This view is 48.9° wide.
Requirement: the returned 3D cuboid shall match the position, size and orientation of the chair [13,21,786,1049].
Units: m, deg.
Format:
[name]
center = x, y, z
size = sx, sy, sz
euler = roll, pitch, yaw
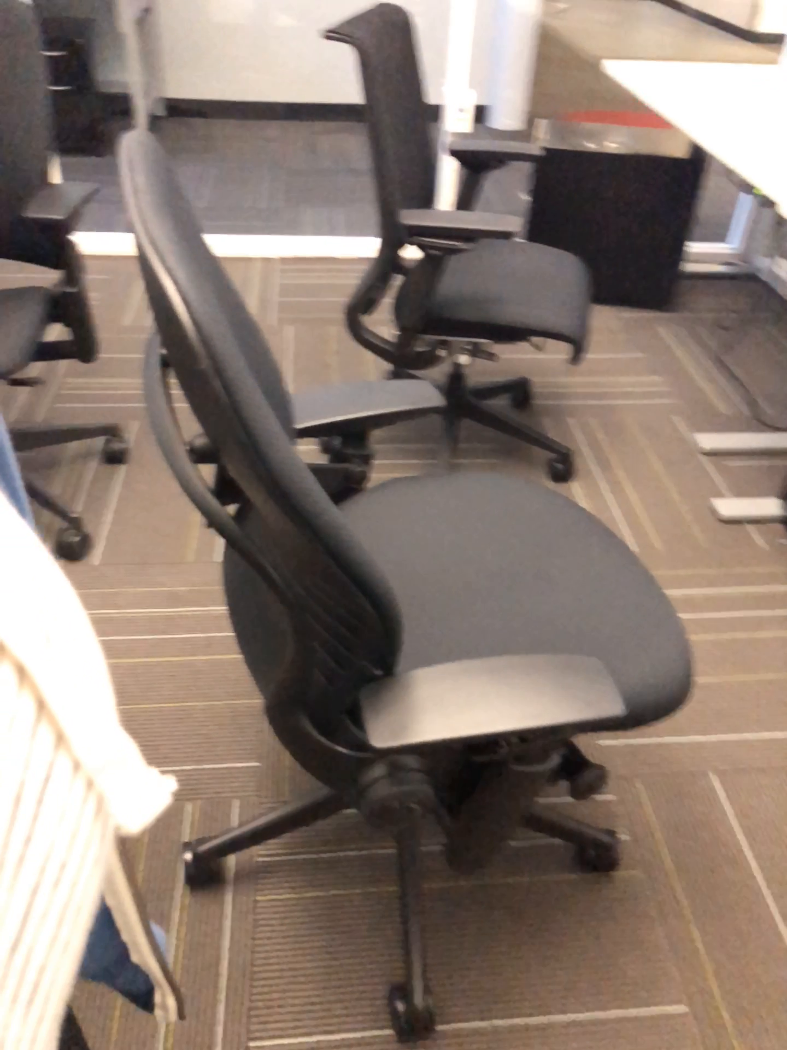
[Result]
[chair]
center = 0.084, 0.008, 1.112
size = 0.830, 1.035, 0.733
euler = -8, 39, -15
